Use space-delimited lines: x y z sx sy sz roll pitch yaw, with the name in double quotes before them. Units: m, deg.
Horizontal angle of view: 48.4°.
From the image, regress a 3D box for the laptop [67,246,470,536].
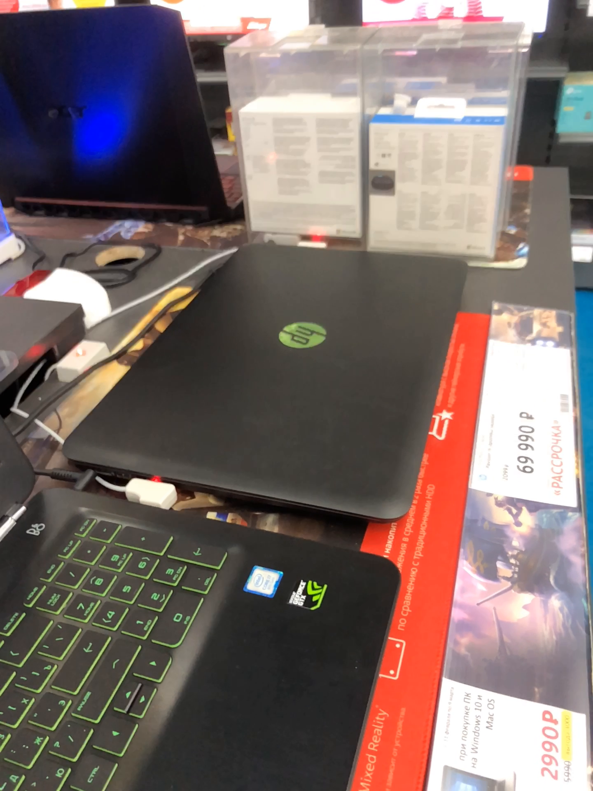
"laptop" 0.009 -0.042 0.574 0.239 0.006 0.373 8 38 15
